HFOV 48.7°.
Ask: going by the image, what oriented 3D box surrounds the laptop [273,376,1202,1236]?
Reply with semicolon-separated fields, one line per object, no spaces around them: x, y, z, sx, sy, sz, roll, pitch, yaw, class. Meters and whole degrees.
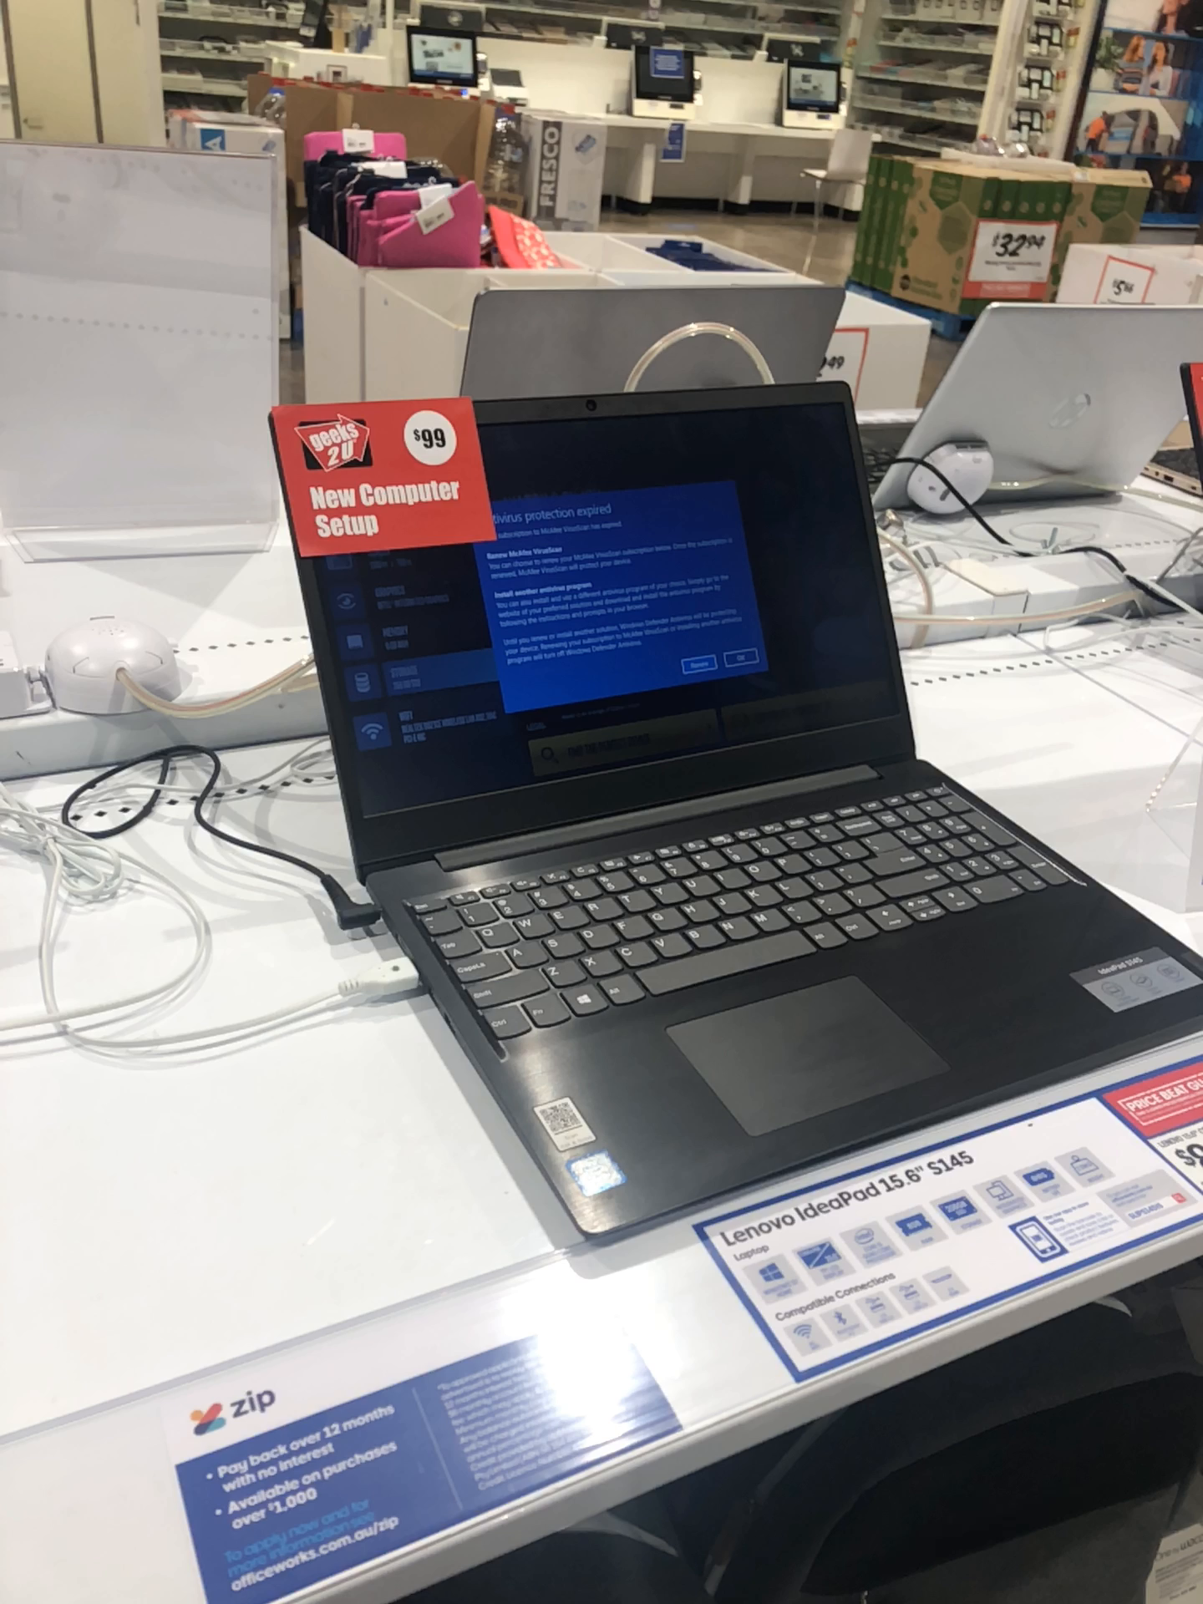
0.073;-0.051;0.640;0.353;0.192;0.370;-11;35;-26;laptop
